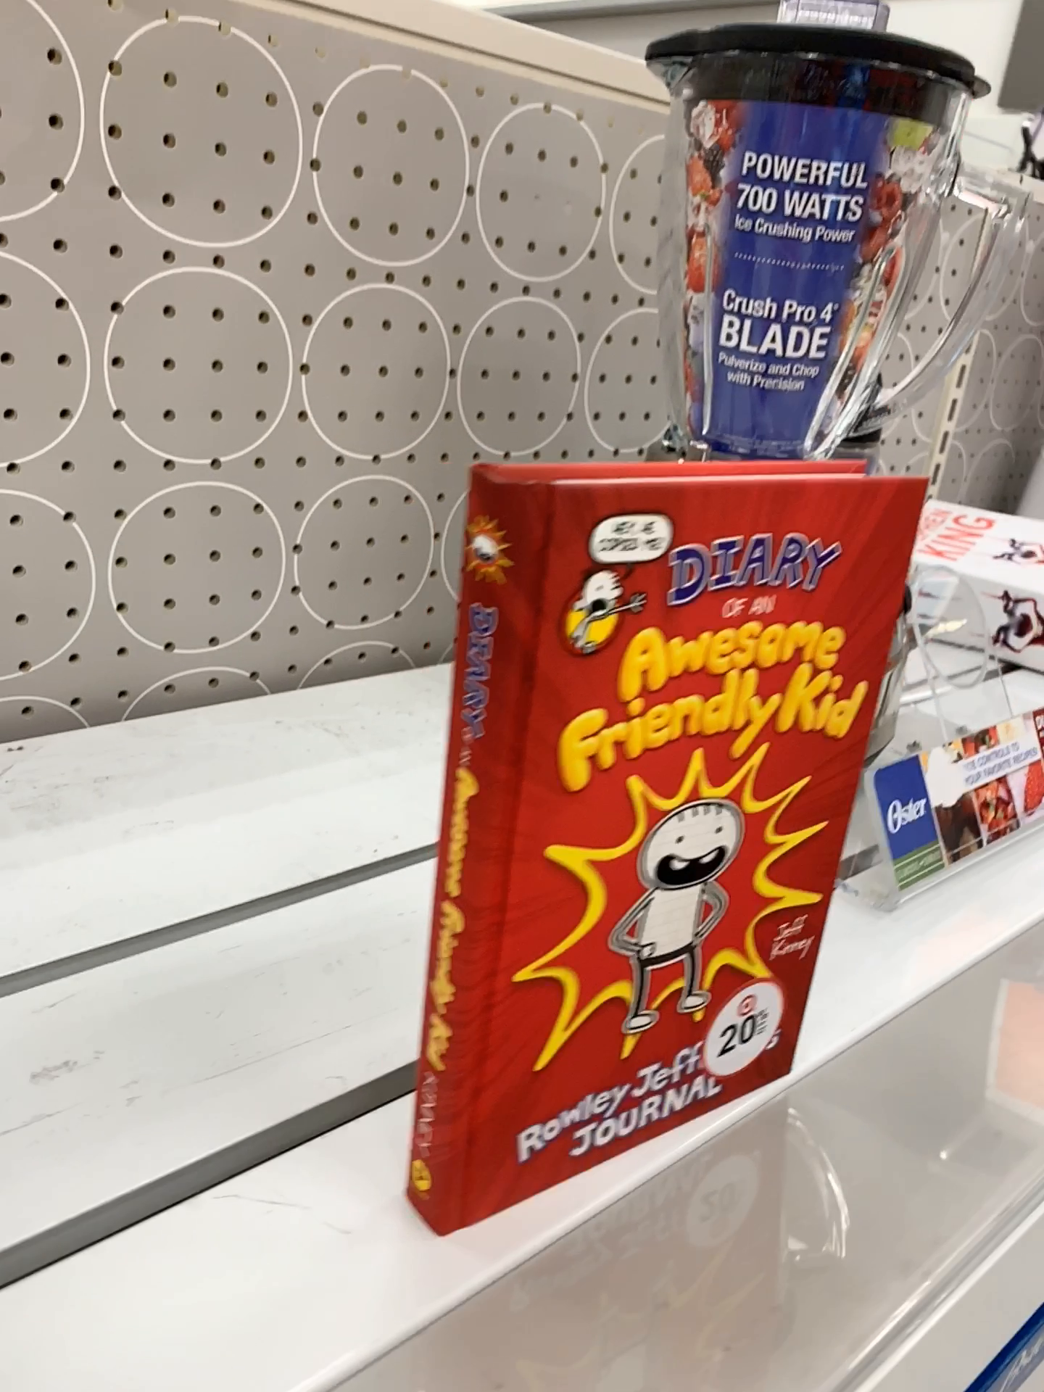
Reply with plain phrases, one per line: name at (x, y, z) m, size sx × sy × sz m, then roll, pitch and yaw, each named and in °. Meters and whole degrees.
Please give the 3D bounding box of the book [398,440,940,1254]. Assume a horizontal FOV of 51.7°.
book at (0.040, 0.037, 0.304) m, size 0.140 × 0.209 × 0.030 m, roll -9°, pitch 25°, yaw -36°
